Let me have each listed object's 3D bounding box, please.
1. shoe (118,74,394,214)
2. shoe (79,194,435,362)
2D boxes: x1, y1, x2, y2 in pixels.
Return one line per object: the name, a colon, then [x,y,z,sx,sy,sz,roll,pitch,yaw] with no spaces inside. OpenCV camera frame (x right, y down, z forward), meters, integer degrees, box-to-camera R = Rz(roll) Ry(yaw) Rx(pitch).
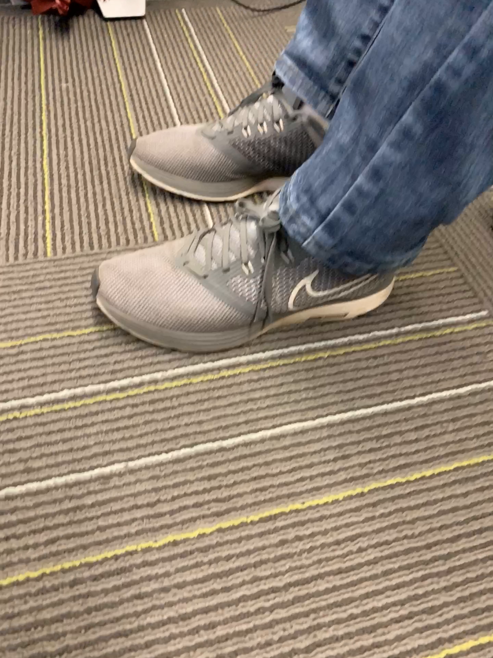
shoe: [0.010,-0.217,0.589,0.283,0.078,0.133,3,52,-1]
shoe: [0.005,-0.051,0.470,0.286,0.078,0.125,-3,52,-6]
